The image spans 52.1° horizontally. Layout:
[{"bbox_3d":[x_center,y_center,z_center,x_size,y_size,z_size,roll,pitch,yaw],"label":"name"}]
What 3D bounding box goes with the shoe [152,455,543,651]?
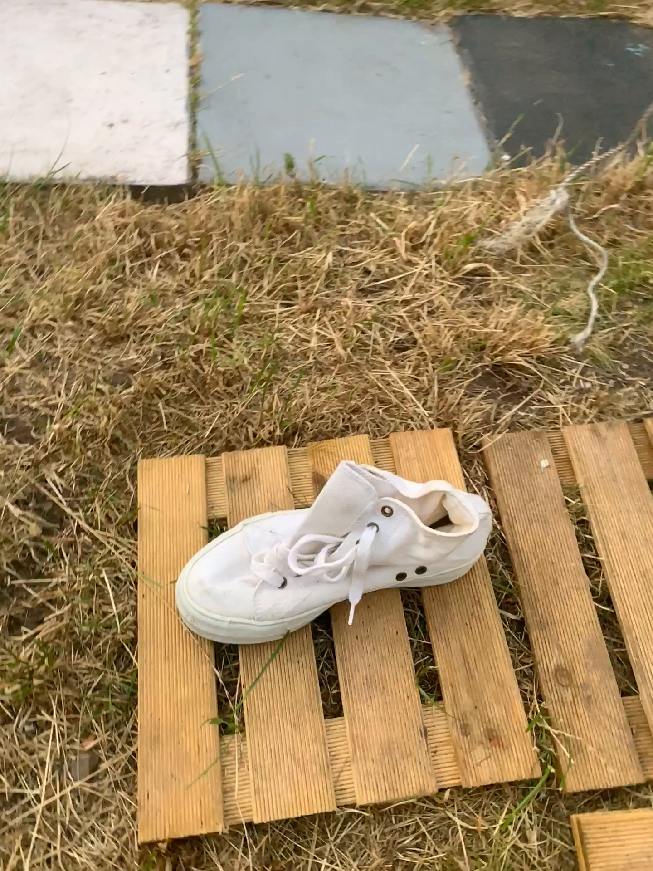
[{"bbox_3d":[0.007,0.093,0.517,0.260,0.129,0.101,-1,61,-9],"label":"shoe"}]
